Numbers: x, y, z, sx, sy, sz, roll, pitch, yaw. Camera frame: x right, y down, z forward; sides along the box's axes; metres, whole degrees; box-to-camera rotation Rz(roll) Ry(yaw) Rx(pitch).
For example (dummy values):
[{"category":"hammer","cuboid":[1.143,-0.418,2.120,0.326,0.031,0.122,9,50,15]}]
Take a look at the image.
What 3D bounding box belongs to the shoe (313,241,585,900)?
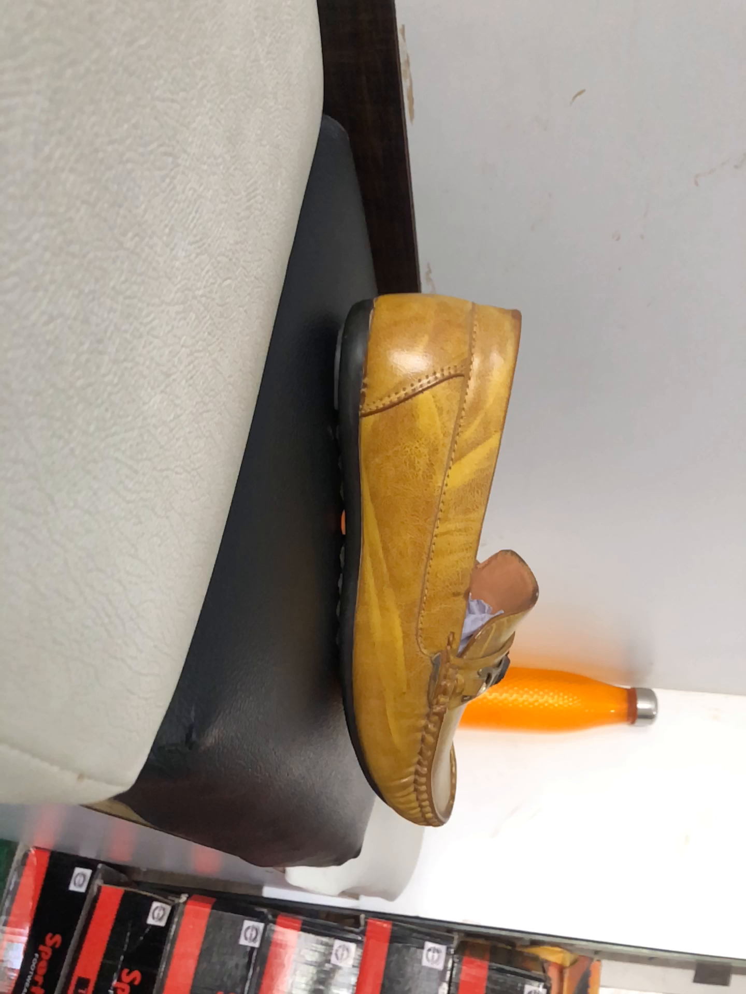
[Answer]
[{"category":"shoe","cuboid":[0.041,0.029,0.409,0.170,0.090,0.270,-70,161,-61]}]
